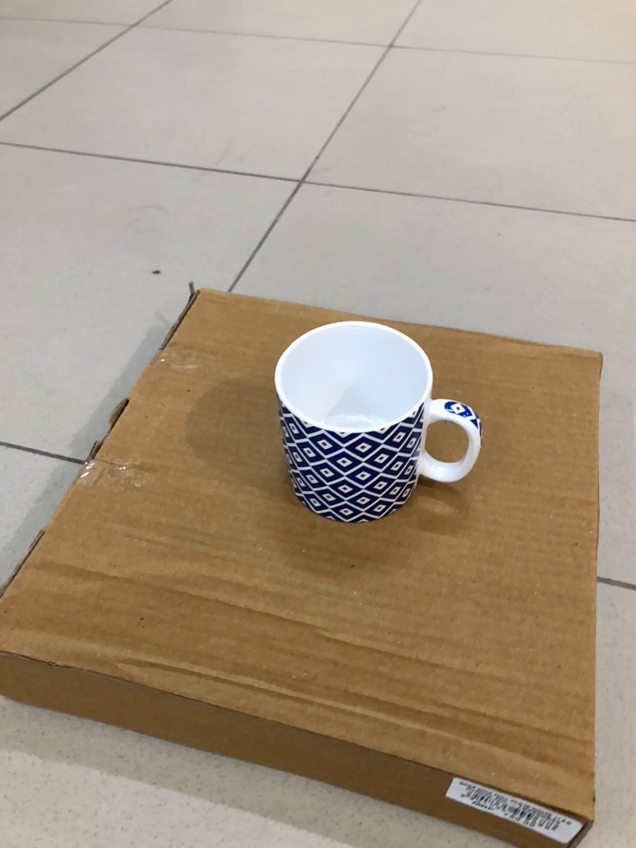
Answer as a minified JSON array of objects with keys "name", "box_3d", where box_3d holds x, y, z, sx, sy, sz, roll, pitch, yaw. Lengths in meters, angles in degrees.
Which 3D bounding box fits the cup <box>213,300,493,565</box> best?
[{"name":"cup","box_3d":[0.020,0.002,0.345,0.110,0.080,0.081,10,47,12]}]
